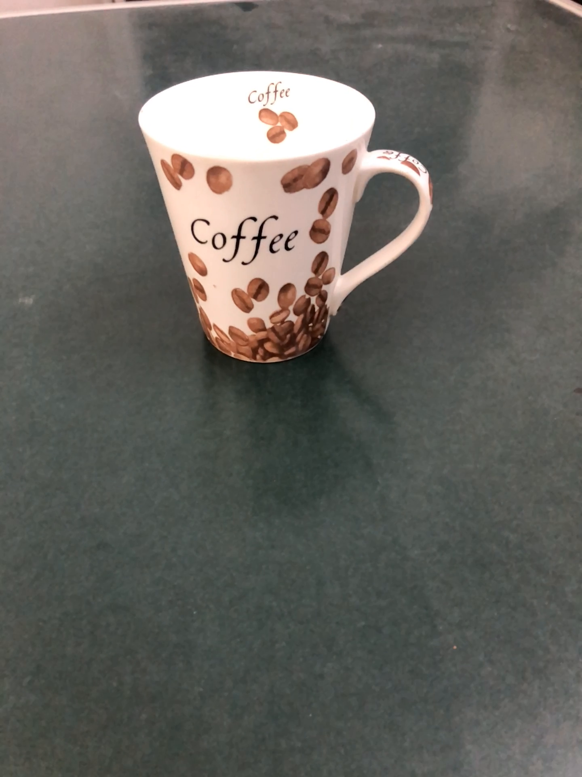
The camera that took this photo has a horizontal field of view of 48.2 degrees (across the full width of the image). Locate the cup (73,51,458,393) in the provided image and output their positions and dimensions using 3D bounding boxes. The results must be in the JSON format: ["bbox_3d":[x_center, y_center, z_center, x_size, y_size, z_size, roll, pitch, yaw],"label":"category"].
[{"bbox_3d":[-0.001,-0.073,0.270,0.120,0.090,0.100,9,44,11],"label":"cup"}]
